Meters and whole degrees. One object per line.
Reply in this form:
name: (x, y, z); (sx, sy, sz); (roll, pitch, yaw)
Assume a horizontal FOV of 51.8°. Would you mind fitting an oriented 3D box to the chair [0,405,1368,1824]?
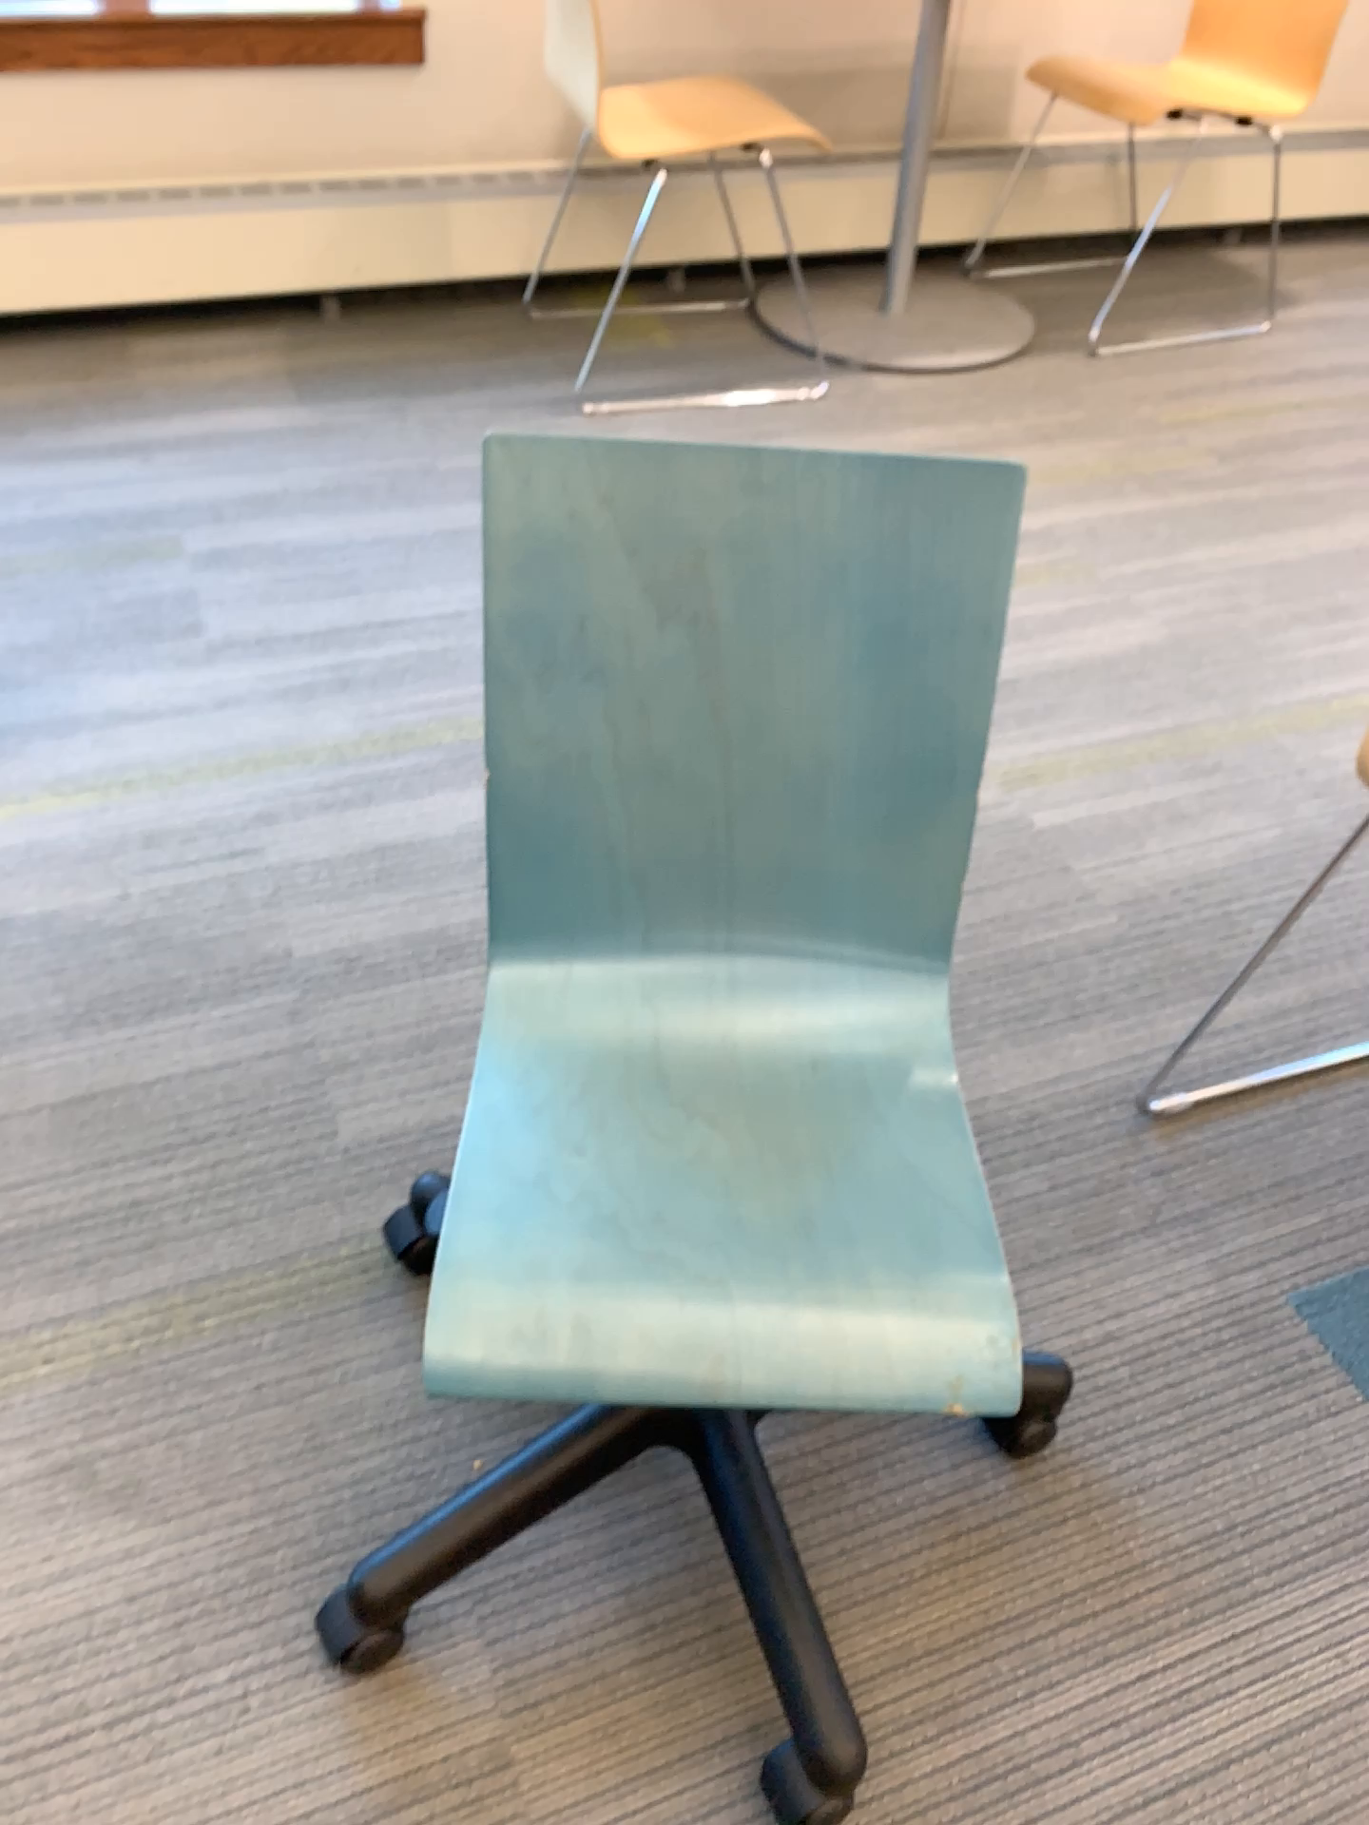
chair: (0.026, 0.138, 0.903); (0.600, 0.667, 0.613); (1, 42, -3)
